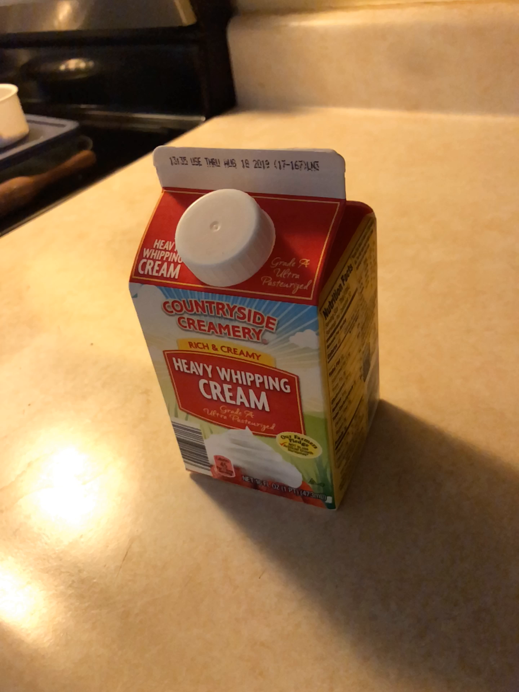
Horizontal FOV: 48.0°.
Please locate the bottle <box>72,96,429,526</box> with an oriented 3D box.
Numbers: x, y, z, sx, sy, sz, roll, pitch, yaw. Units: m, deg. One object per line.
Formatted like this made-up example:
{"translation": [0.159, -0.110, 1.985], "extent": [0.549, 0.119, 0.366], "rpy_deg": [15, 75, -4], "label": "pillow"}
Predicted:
{"translation": [0.010, -0.017, 0.231], "extent": [0.090, 0.130, 0.090], "rpy_deg": [-6, 36, 5], "label": "bottle"}
